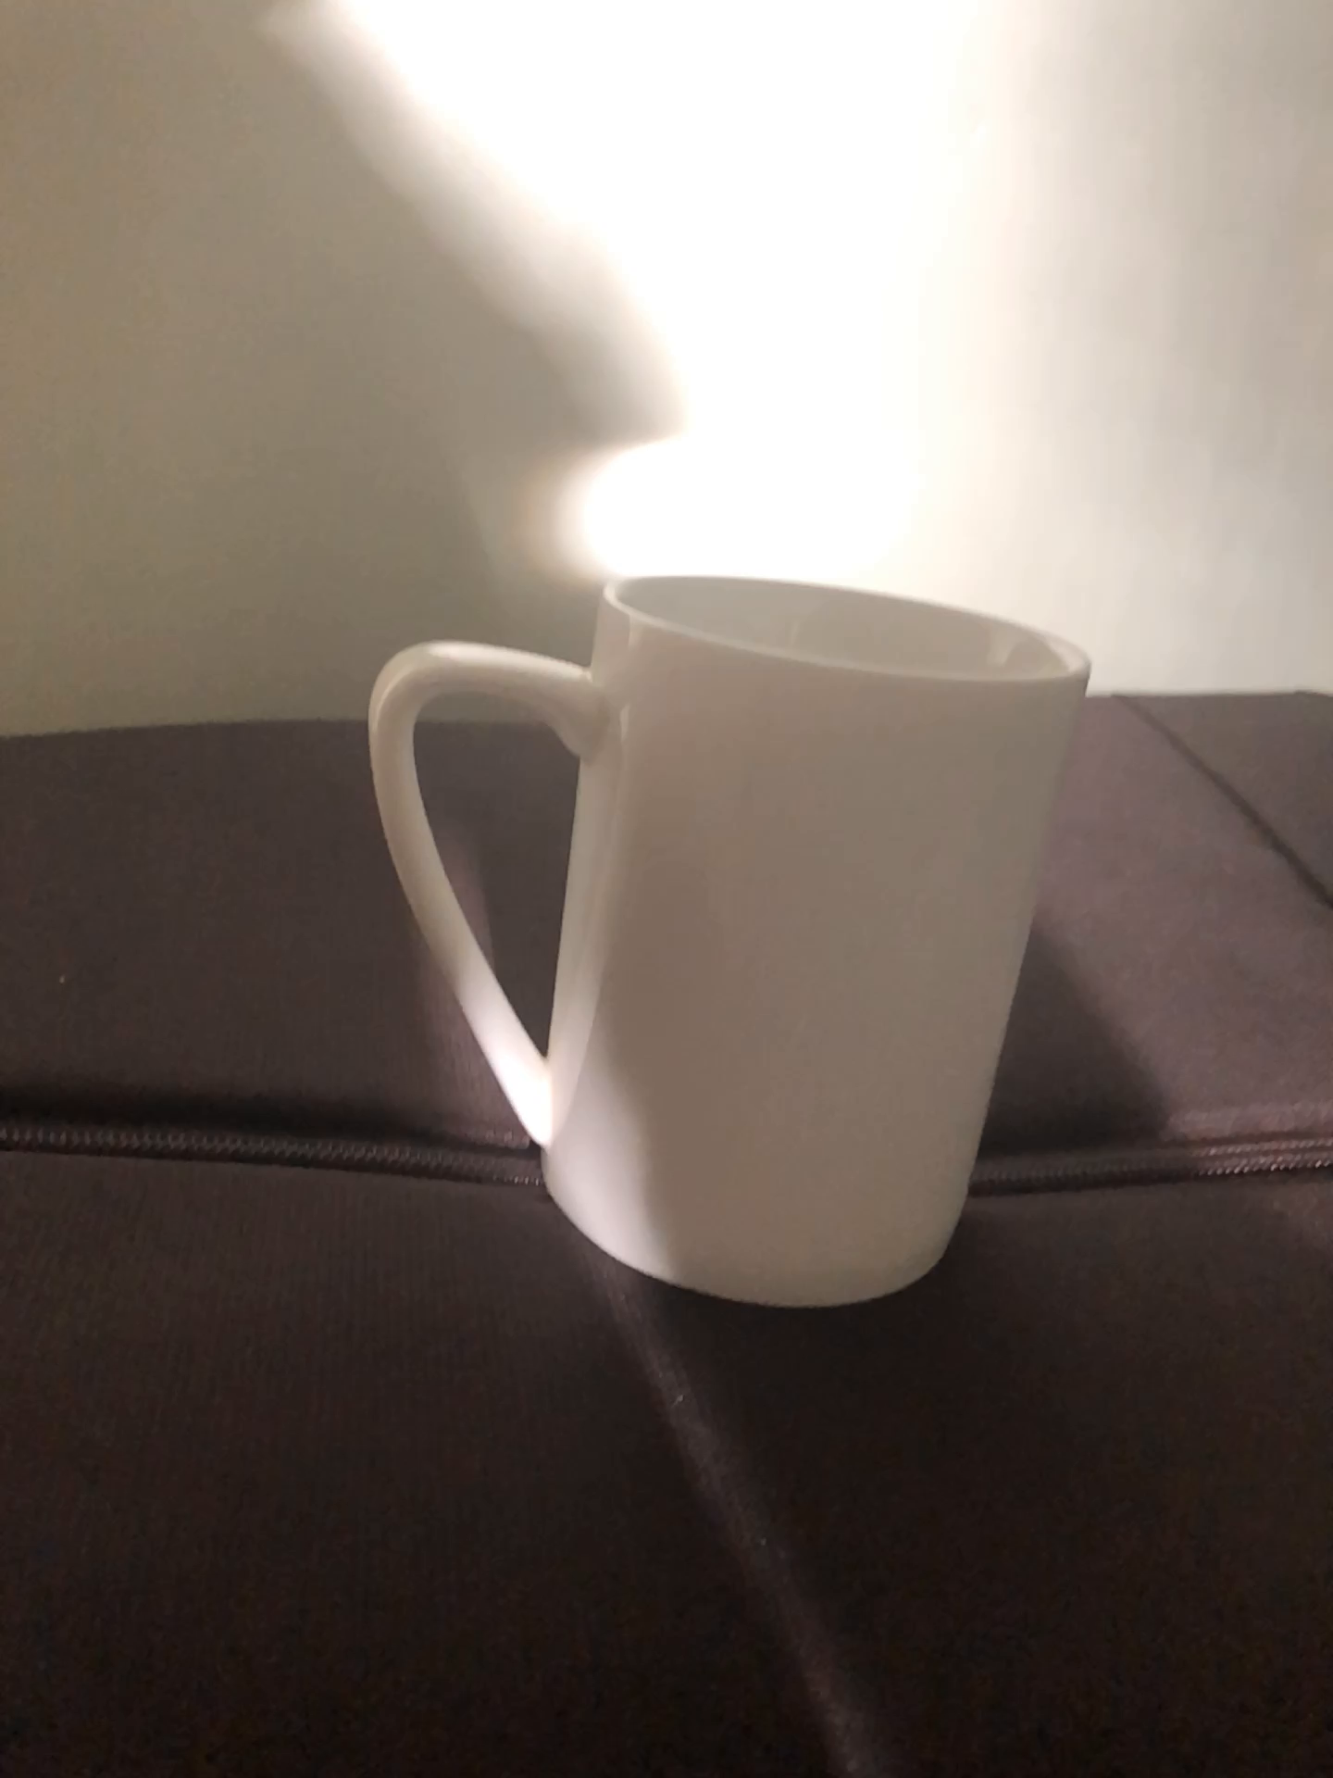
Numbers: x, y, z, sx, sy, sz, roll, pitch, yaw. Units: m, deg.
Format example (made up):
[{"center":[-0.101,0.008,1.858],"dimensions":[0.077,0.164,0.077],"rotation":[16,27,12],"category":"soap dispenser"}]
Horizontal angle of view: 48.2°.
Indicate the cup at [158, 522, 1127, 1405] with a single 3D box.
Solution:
[{"center":[-0.002,0.000,0.229],"dimensions":[0.108,0.090,0.097],"rotation":[10,17,4],"category":"cup"}]
